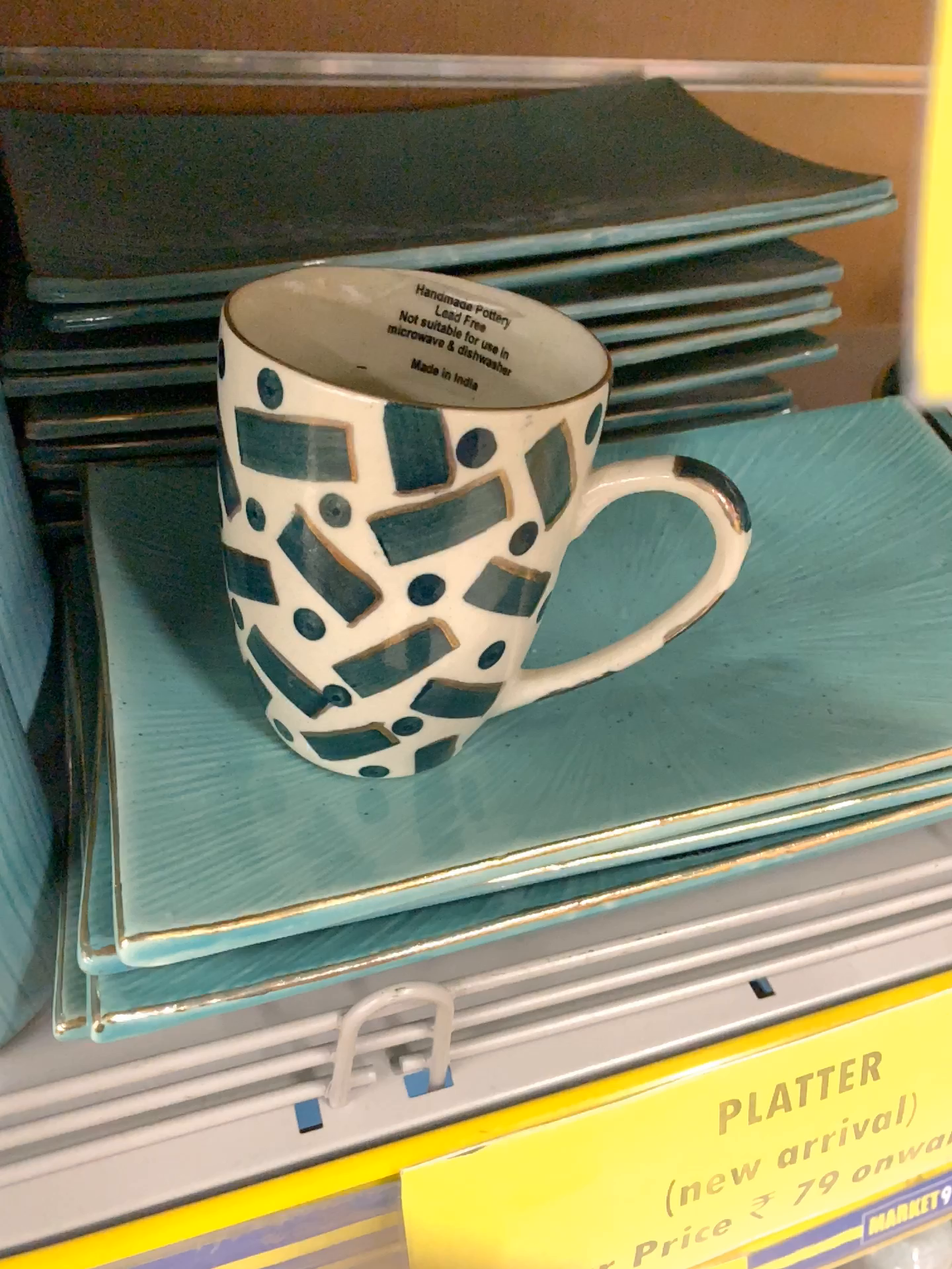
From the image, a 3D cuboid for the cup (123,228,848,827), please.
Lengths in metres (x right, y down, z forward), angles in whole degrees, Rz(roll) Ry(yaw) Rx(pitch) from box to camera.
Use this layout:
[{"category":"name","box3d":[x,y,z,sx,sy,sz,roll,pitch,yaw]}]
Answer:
[{"category":"cup","box3d":[-0.004,-0.023,0.203,0.110,0.080,0.080,7,34,-6]}]
